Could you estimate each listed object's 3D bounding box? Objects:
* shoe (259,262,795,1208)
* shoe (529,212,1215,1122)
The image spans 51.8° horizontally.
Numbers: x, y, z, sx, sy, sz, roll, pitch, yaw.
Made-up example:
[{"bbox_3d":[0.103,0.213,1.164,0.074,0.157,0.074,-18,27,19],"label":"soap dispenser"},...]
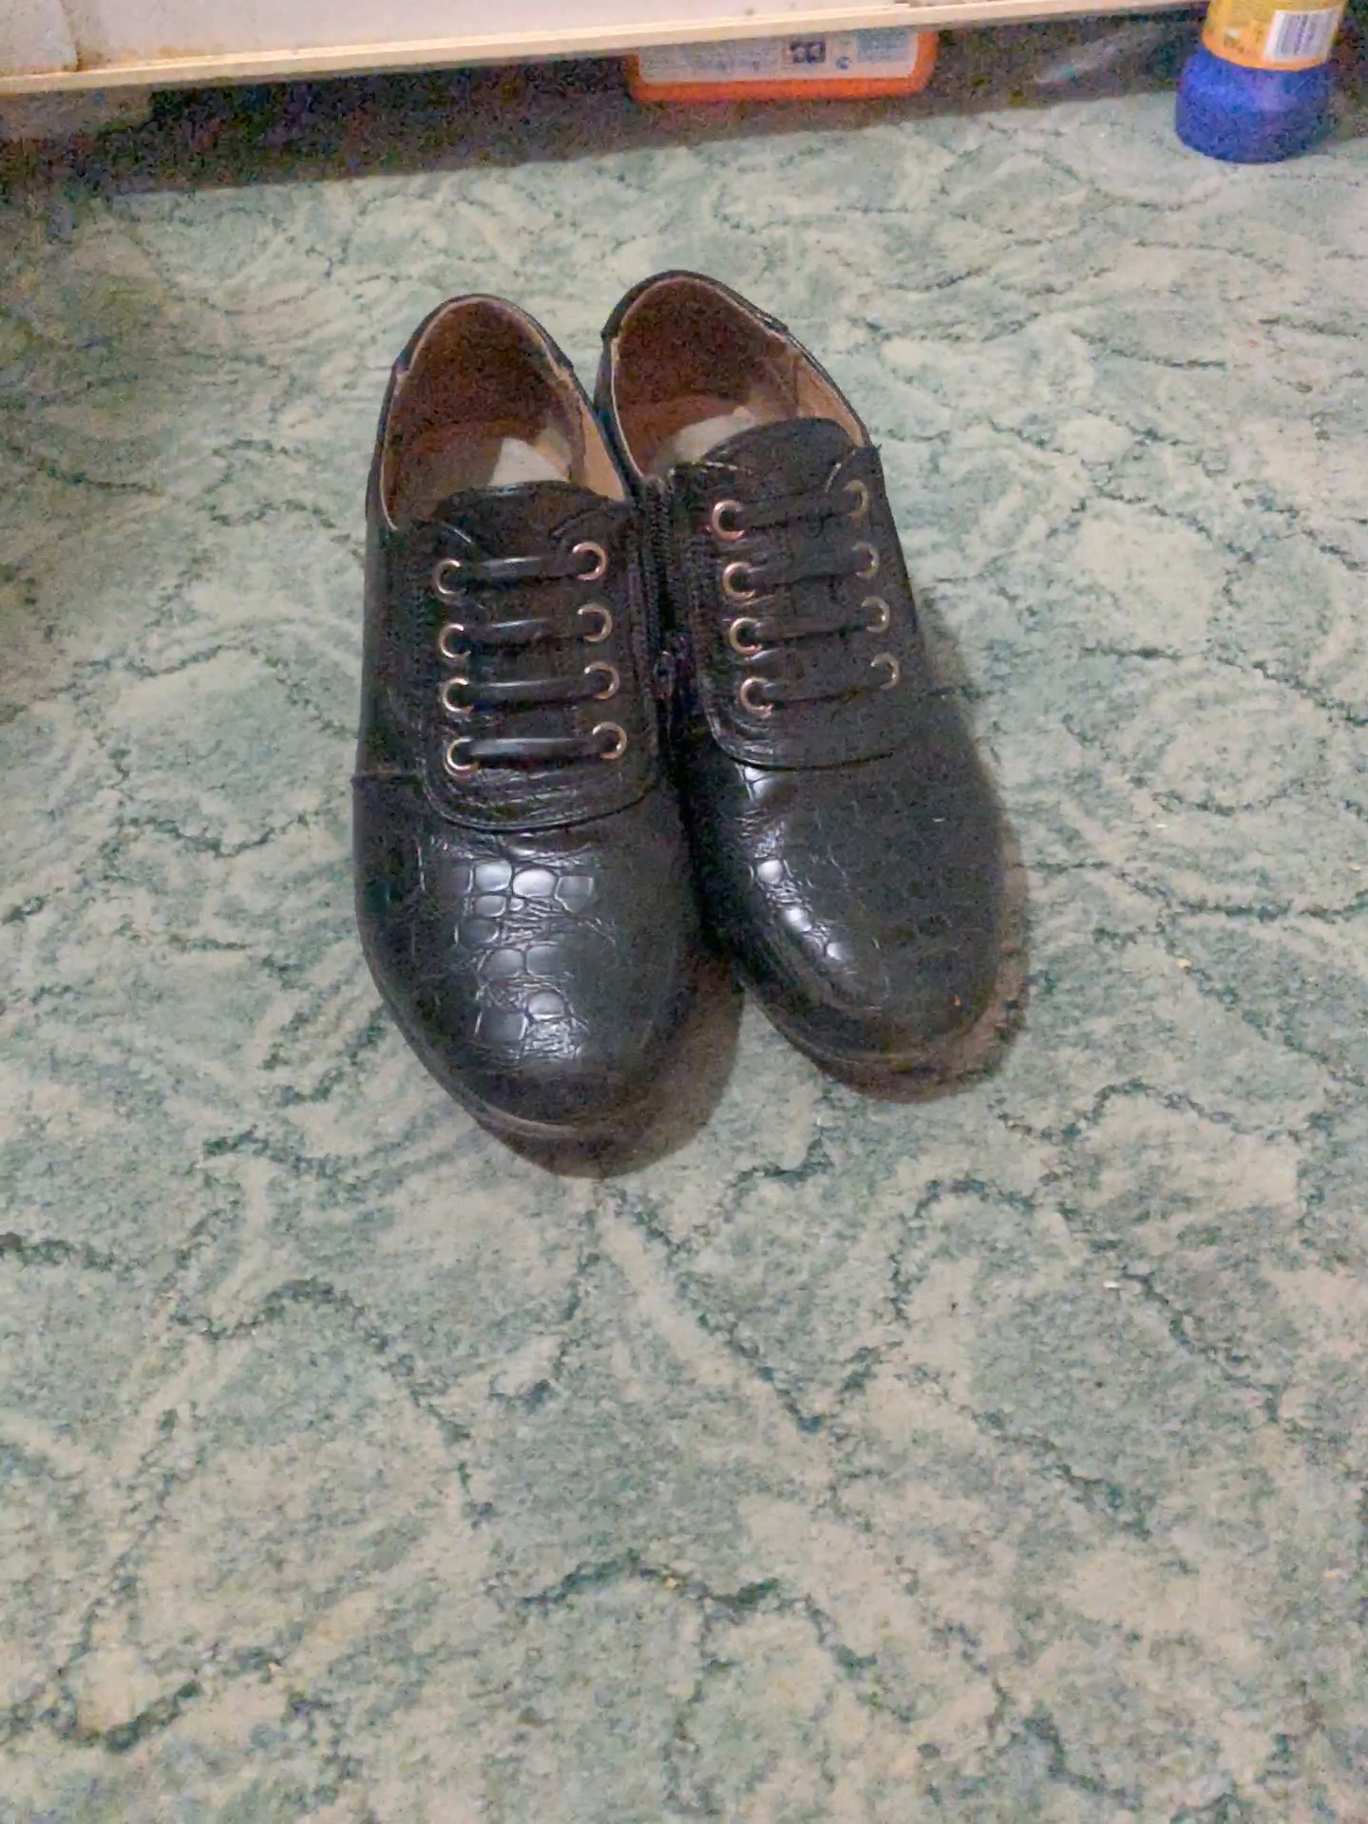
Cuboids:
[{"bbox_3d":[-0.049,-0.056,0.376,0.090,0.119,0.221,-10,52,-9],"label":"shoe"},{"bbox_3d":[0.030,-0.074,0.378,0.090,0.119,0.211,-13,53,-11],"label":"shoe"}]
